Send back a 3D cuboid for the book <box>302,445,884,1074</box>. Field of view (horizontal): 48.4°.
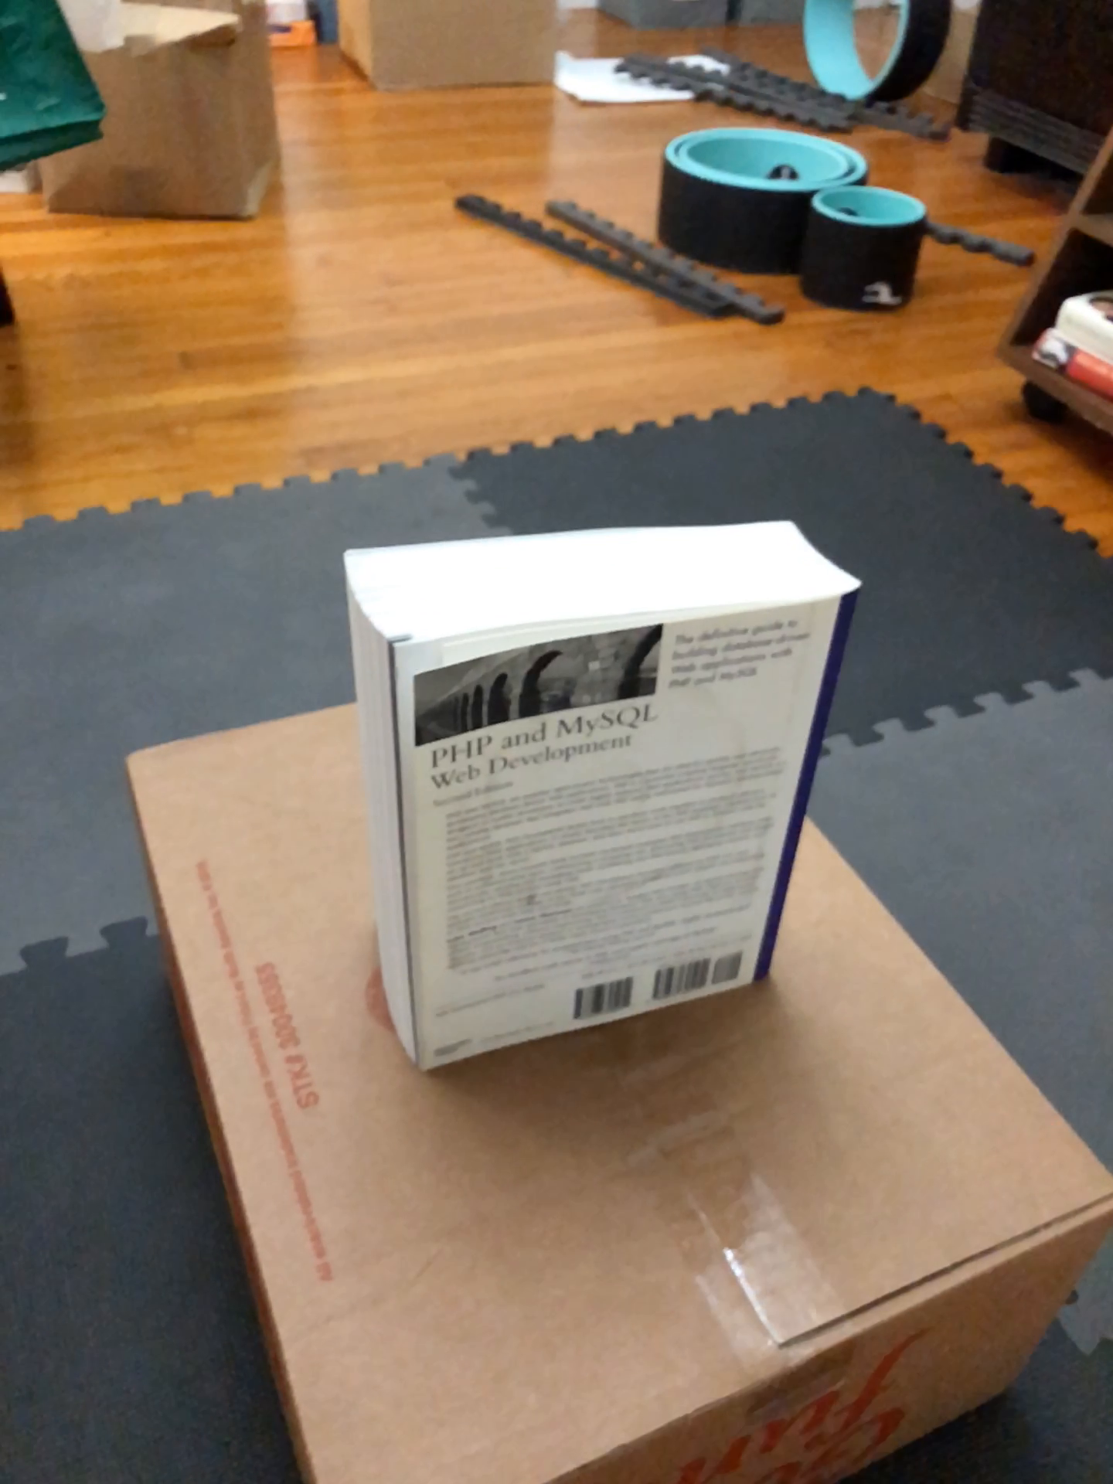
[{"bbox_3d":[0.004,0.015,0.532,0.200,0.258,0.091,-4,38,-8],"label":"book"}]
